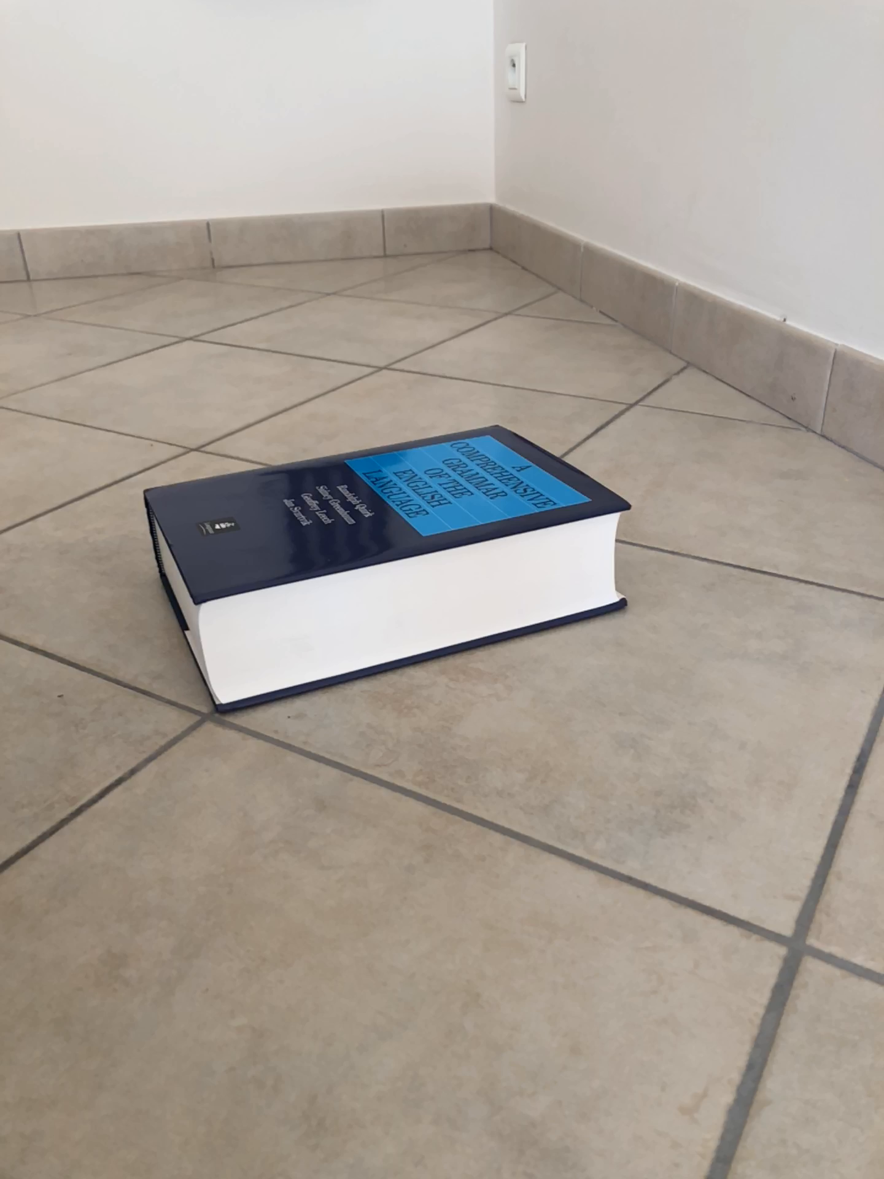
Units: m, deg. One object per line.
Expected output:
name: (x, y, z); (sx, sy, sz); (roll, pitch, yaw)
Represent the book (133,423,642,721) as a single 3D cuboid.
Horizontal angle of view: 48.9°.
book: (-0.039, -0.027, 0.595); (0.257, 0.066, 0.181); (-13, 28, -21)
